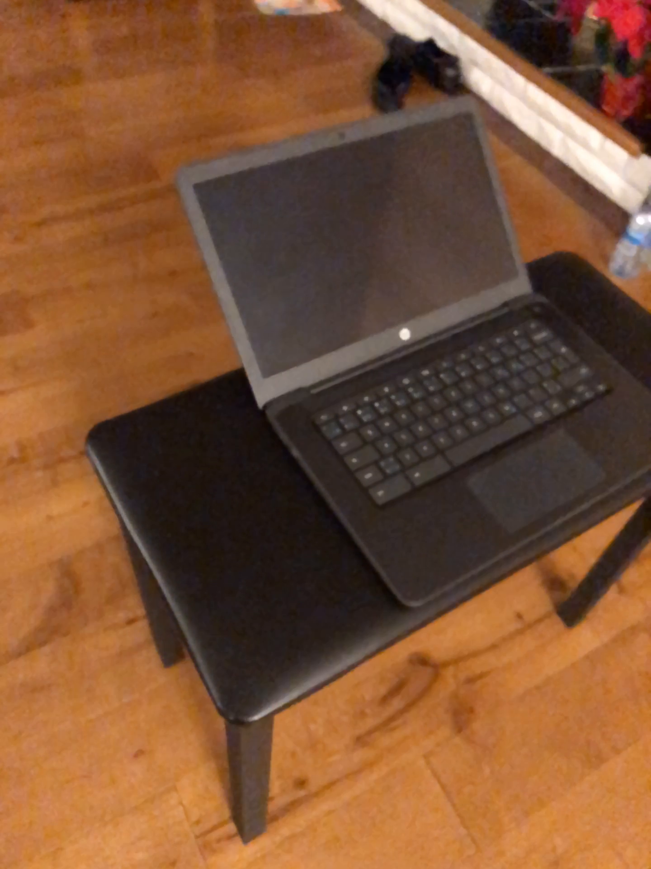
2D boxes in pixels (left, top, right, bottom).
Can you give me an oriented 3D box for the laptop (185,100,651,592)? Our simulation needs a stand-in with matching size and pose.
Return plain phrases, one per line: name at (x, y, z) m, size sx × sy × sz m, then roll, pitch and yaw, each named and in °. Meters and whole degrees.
laptop at (0.105, -0.111, 0.629) m, size 0.317 × 0.143 × 0.364 m, roll -24°, pitch 55°, yaw -22°
